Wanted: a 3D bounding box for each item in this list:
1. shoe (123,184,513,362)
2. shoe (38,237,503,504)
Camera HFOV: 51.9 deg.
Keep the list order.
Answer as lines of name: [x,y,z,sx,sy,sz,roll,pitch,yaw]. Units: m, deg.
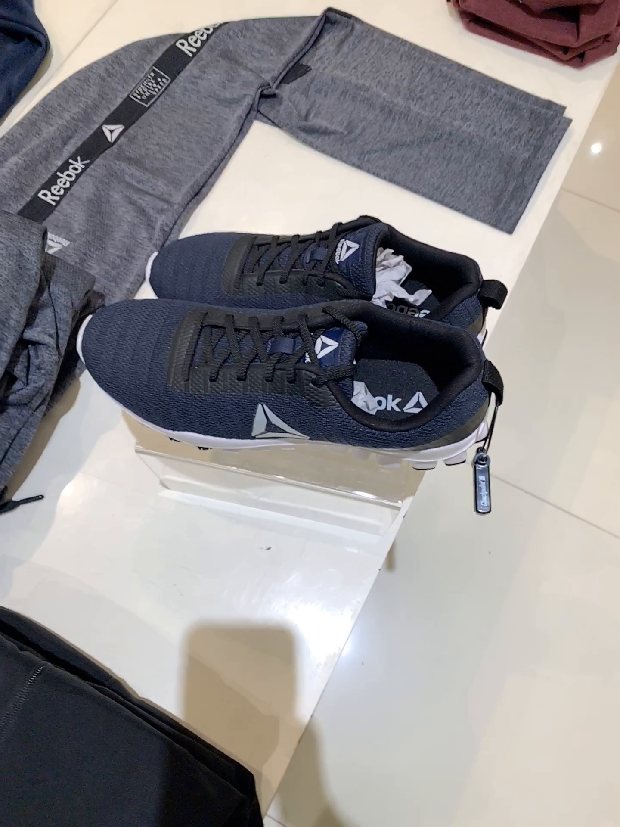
shoe: [0.007,-0.119,0.521,0.290,0.080,0.100,7,69,19]
shoe: [-0.021,-0.028,0.447,0.280,0.080,0.120,10,70,4]
